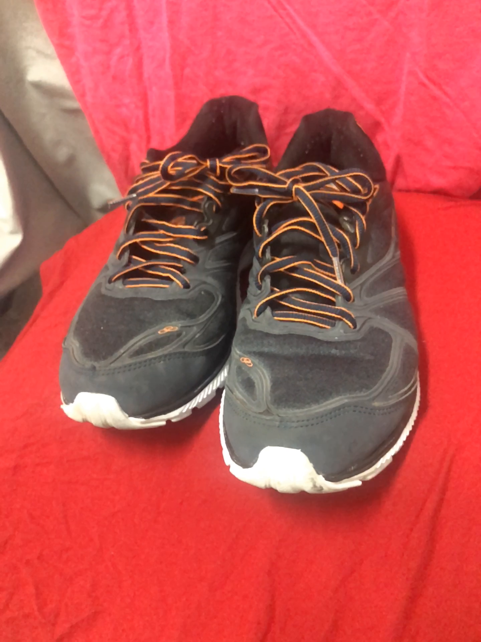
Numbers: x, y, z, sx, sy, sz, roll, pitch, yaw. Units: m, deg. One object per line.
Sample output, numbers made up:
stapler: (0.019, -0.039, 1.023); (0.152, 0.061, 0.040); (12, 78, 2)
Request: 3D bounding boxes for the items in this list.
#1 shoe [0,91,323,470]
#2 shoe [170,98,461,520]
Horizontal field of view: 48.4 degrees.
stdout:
shoe: (-0.028, -0.057, 0.355); (0.110, 0.089, 0.282); (8, 43, 17)
shoe: (0.056, -0.038, 0.339); (0.110, 0.099, 0.282); (2, 42, 12)
